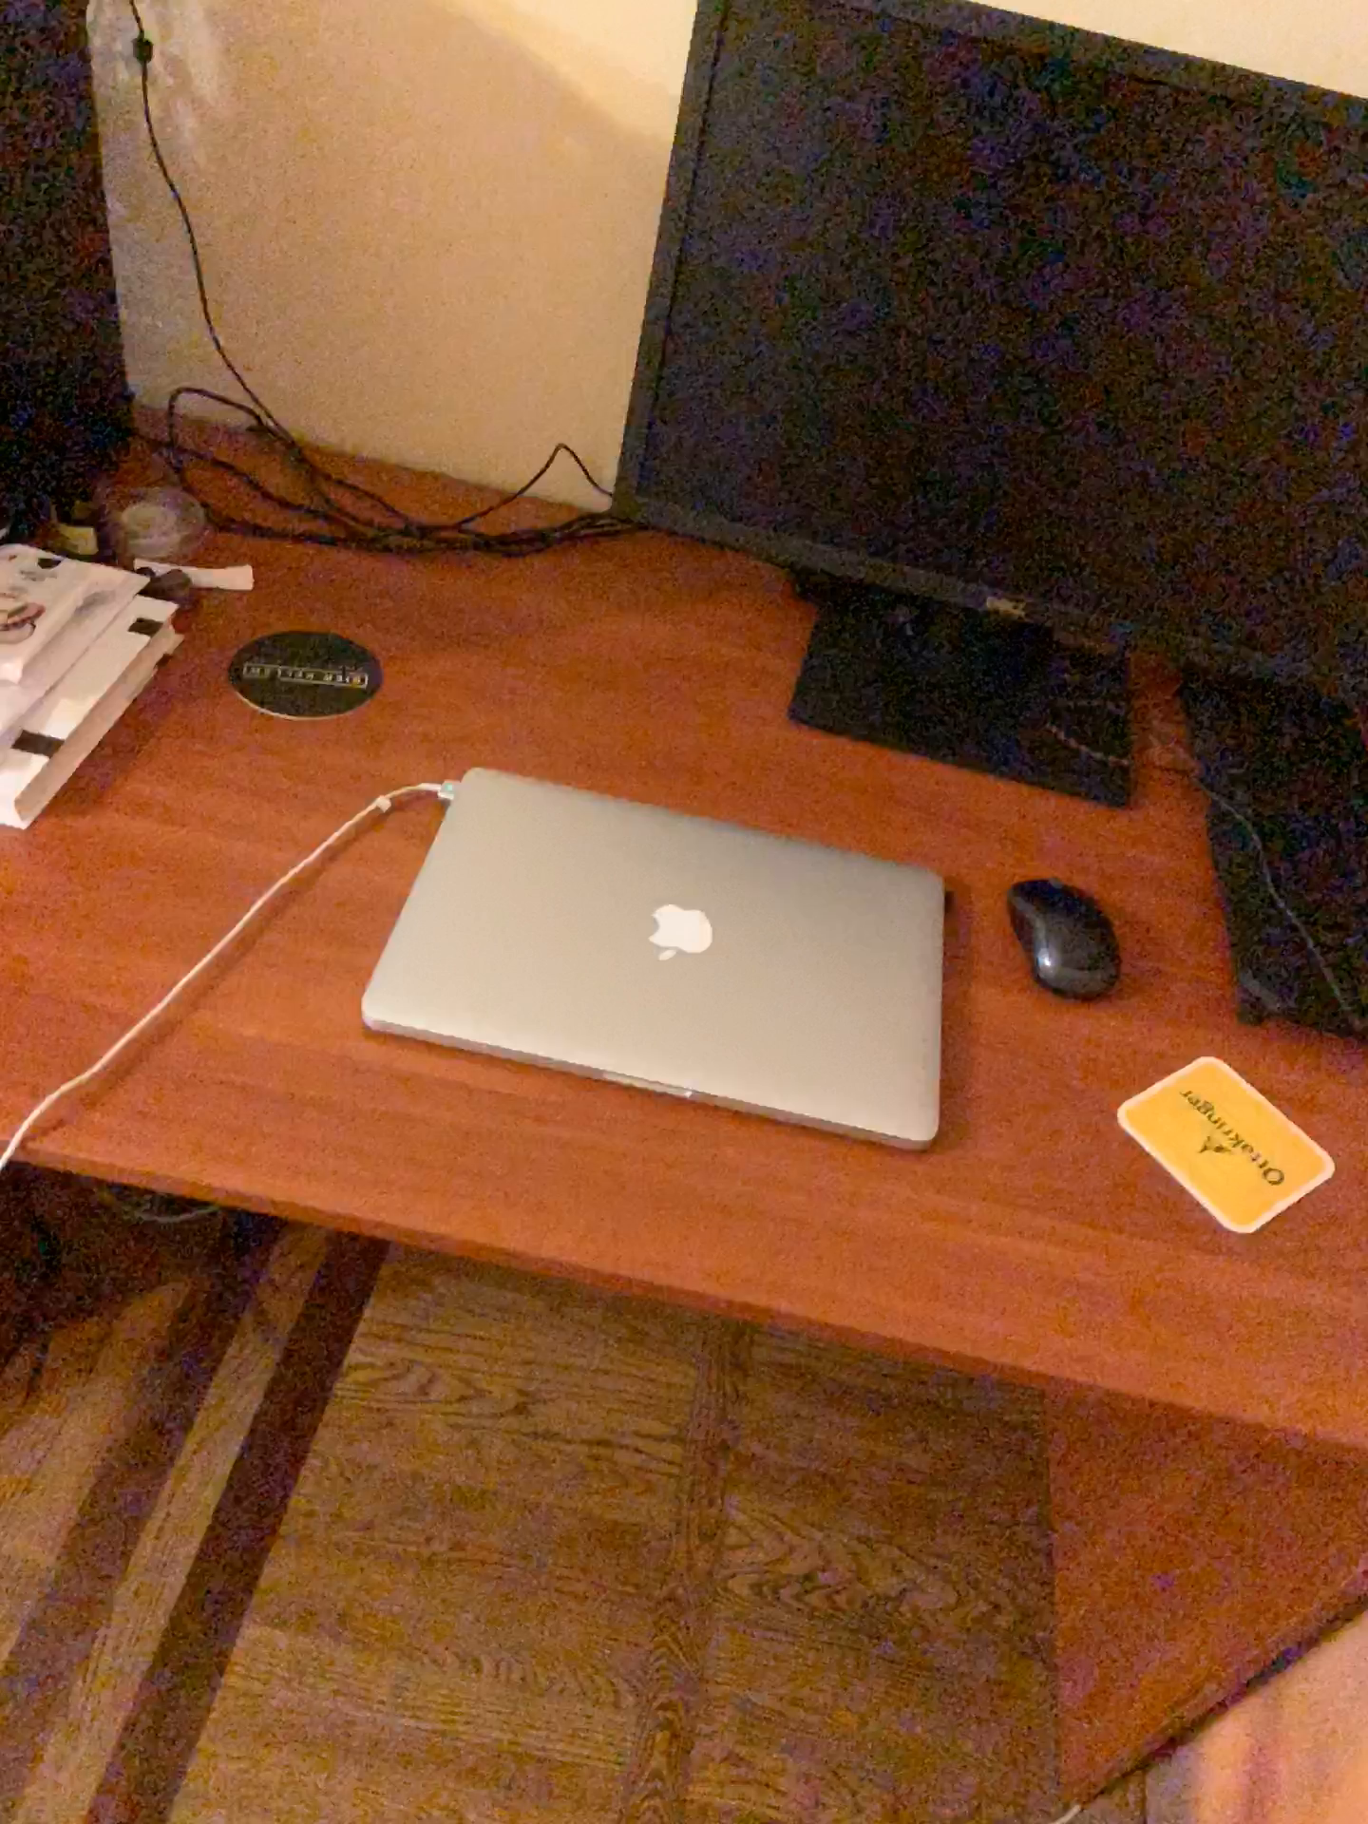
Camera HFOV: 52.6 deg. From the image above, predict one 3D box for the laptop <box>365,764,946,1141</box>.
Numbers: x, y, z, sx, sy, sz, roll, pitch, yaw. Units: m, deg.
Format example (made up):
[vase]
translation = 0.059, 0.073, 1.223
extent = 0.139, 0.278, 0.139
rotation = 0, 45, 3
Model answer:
[laptop]
translation = 0.000, 0.013, 0.799
extent = 0.305, 0.001, 0.214
rotation = 13, 44, 0
